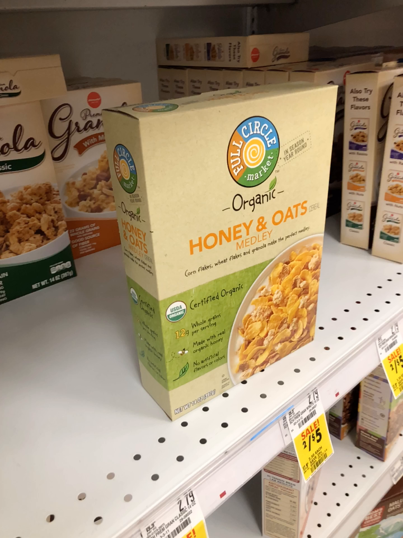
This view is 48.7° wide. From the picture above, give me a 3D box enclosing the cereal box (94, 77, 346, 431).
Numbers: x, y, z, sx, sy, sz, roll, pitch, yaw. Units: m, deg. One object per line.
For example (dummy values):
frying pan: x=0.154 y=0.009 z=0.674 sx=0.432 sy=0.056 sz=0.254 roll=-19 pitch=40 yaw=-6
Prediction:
cereal box: x=0.027 y=-0.017 z=0.389 sx=0.190 sy=0.259 sz=0.060 roll=-21 pitch=32 yaw=-30
